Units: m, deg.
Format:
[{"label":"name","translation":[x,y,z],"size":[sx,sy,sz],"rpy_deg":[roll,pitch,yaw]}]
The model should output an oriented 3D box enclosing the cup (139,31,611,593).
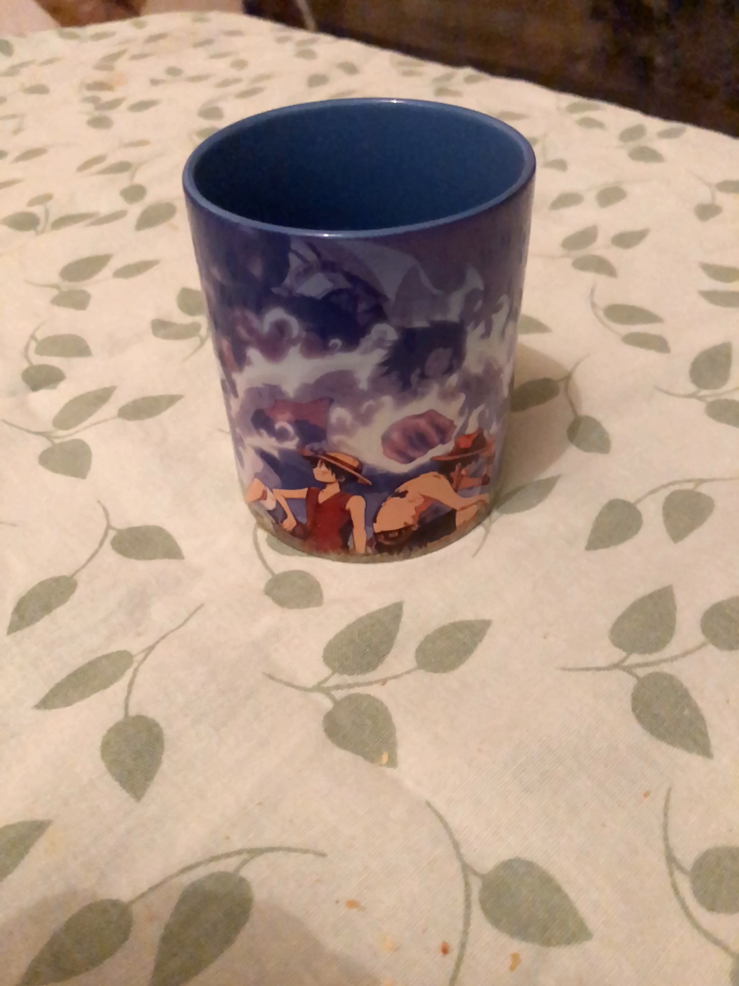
[{"label":"cup","translation":[-0.005,-0.056,0.233],"size":[0.090,0.099,0.121],"rpy_deg":[-7,42,-5]}]
